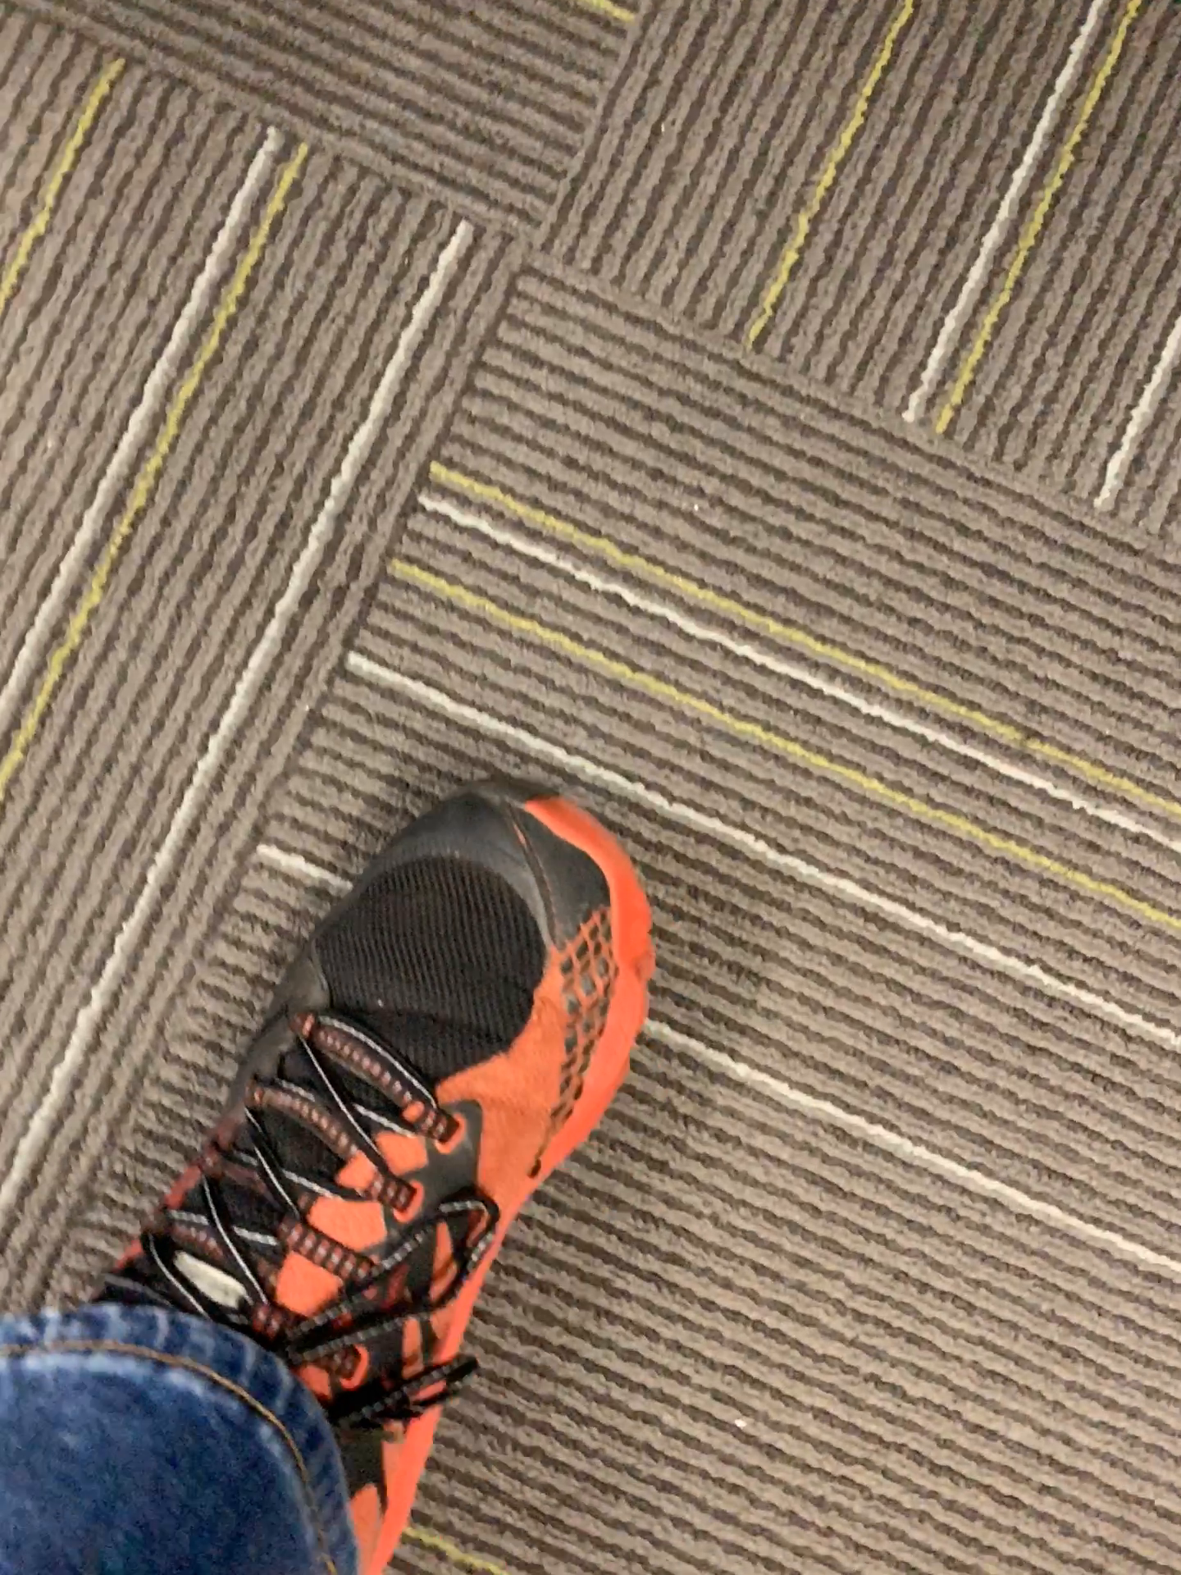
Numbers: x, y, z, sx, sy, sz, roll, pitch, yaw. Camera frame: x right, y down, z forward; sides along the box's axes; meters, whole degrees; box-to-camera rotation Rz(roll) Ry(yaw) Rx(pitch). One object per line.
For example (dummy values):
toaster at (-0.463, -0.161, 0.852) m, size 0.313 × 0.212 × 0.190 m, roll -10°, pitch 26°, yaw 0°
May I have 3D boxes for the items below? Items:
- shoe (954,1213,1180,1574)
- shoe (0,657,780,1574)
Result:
shoe at (0.269, 0.310, 0.370) m, size 0.140 × 0.090 × 0.302 m, roll 33°, pitch 90°, yaw -11°
shoe at (-0.074, 0.133, 0.369) m, size 0.132 × 0.090 × 0.305 m, roll 25°, pitch 90°, yaw 20°
